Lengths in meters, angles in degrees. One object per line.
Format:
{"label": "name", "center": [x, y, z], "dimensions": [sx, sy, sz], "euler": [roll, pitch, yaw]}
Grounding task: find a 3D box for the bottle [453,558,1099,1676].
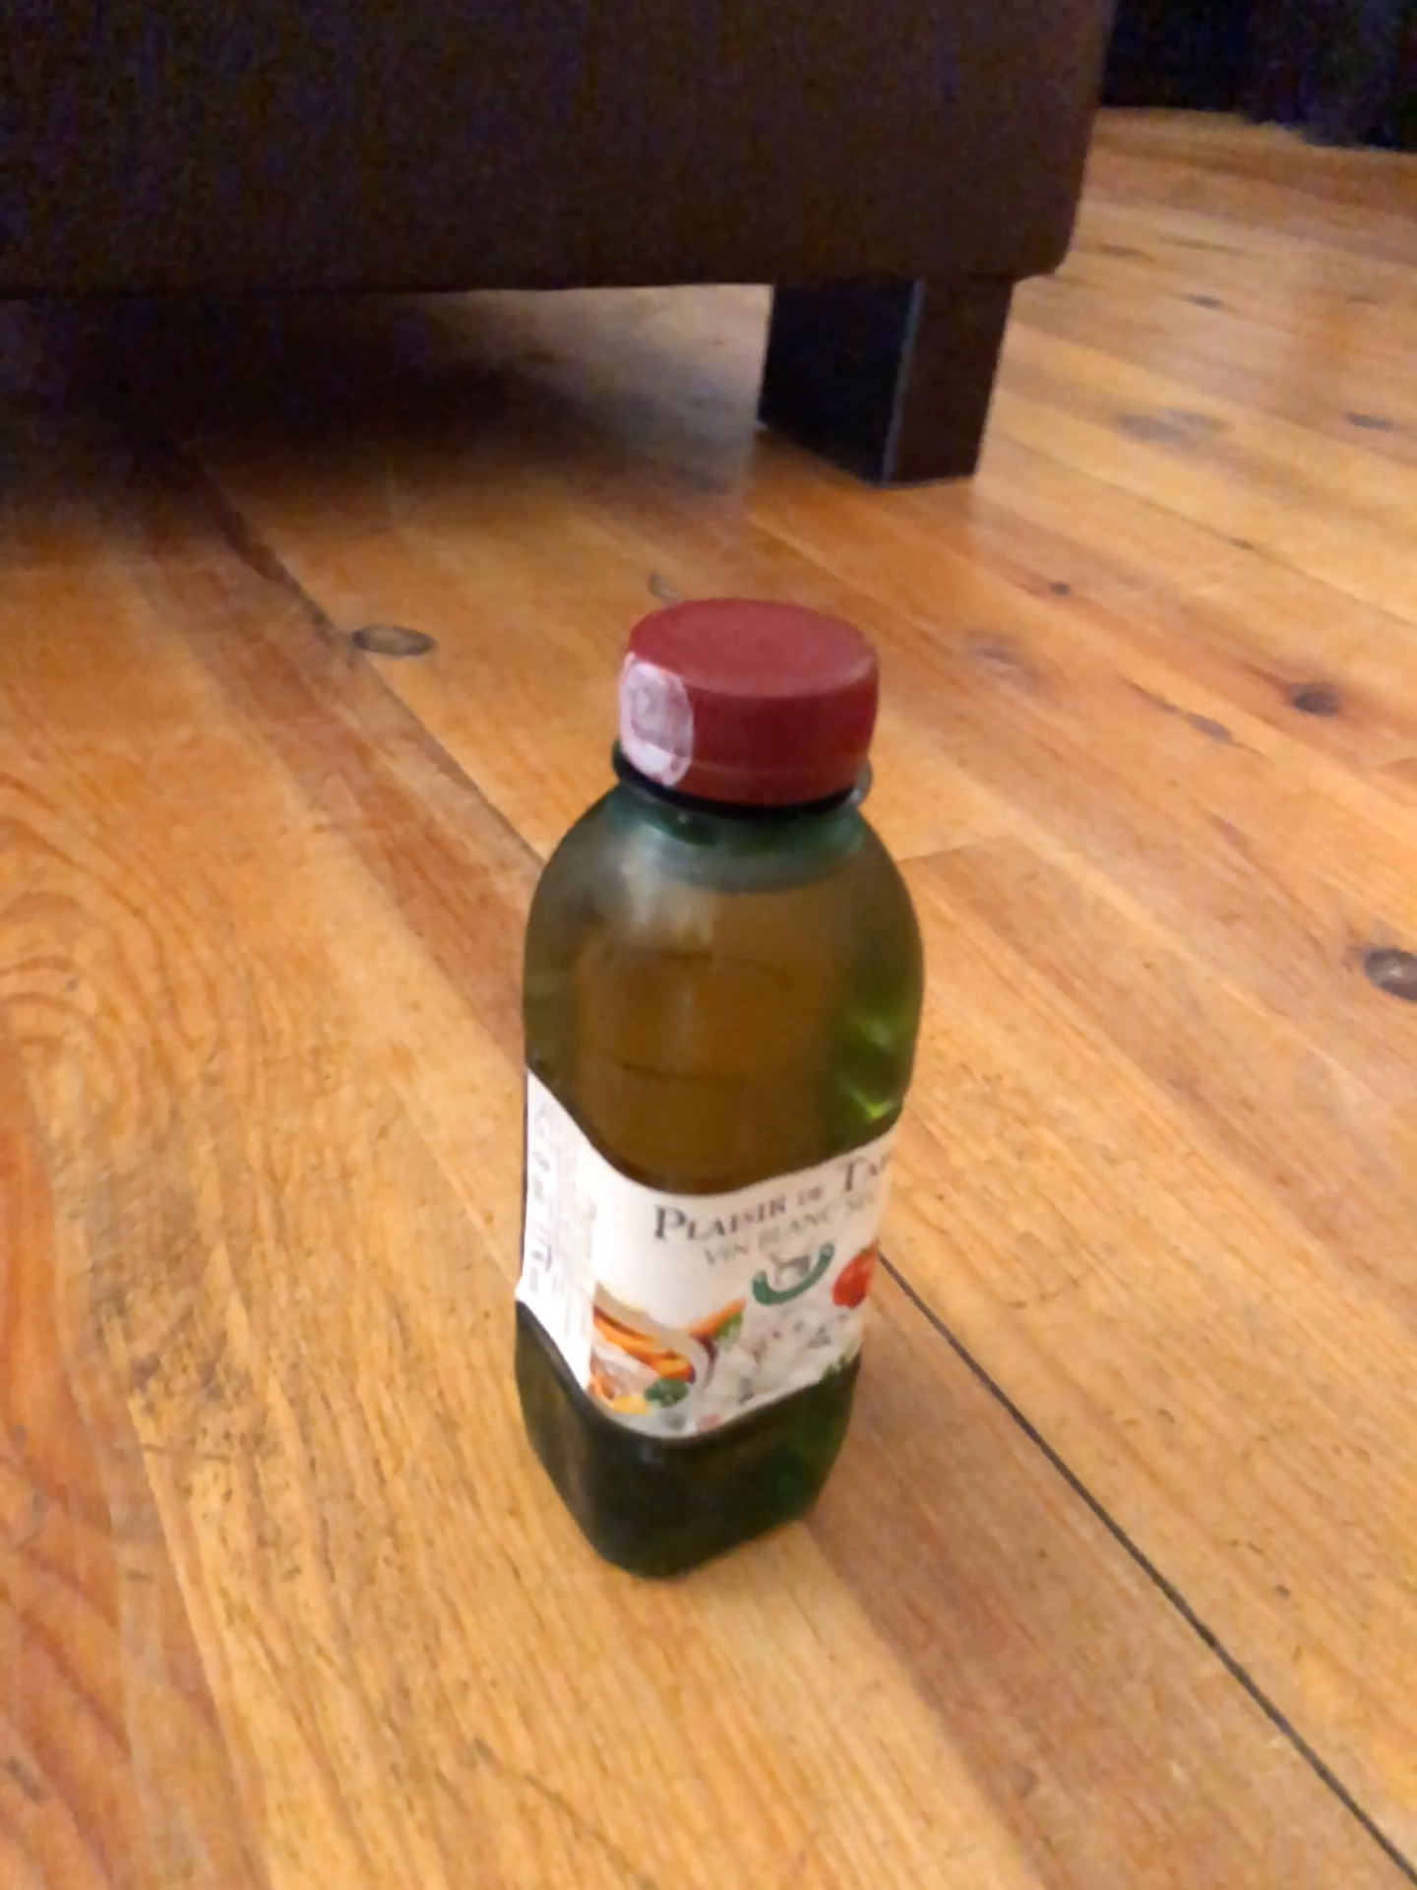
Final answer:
{"label": "bottle", "center": [0.001, 0.028, 0.226], "dimensions": [0.060, 0.149, 0.050], "euler": [-14, 37, -28]}
